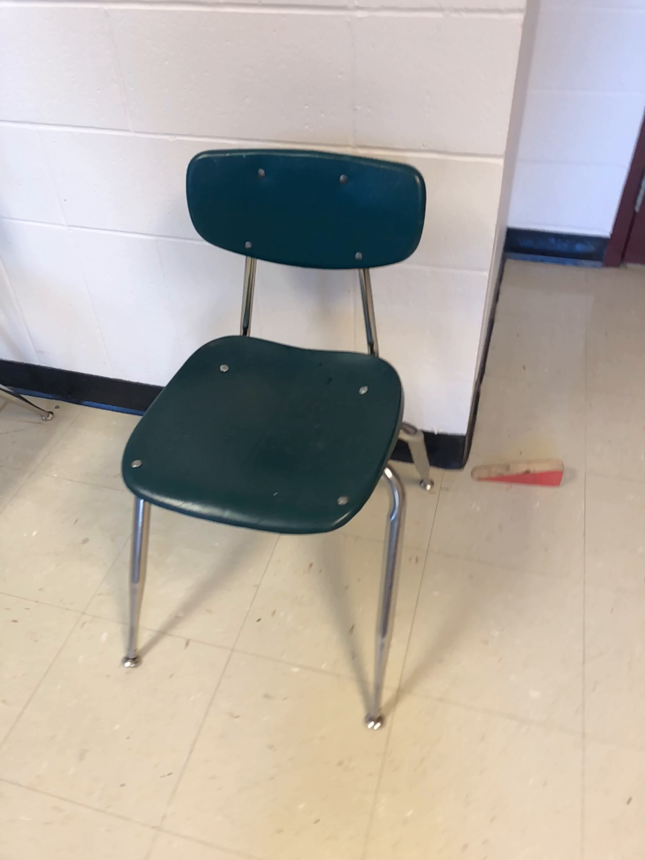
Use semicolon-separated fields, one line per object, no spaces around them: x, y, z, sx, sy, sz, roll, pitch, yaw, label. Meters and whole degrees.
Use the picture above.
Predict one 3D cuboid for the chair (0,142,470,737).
-0.066;0.001;1.151;0.480;0.695;0.594;8;43;13;chair
